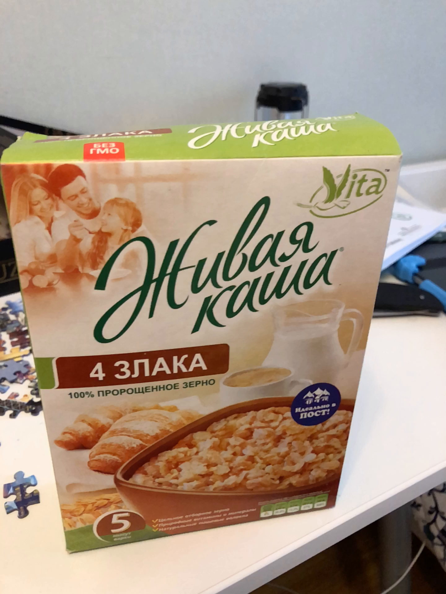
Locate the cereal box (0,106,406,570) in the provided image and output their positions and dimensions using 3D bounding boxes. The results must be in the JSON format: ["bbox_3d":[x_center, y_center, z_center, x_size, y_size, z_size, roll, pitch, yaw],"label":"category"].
[{"bbox_3d":[-0.012,0.025,0.232,0.140,0.209,0.050,-4,28,-12],"label":"cereal box"}]
